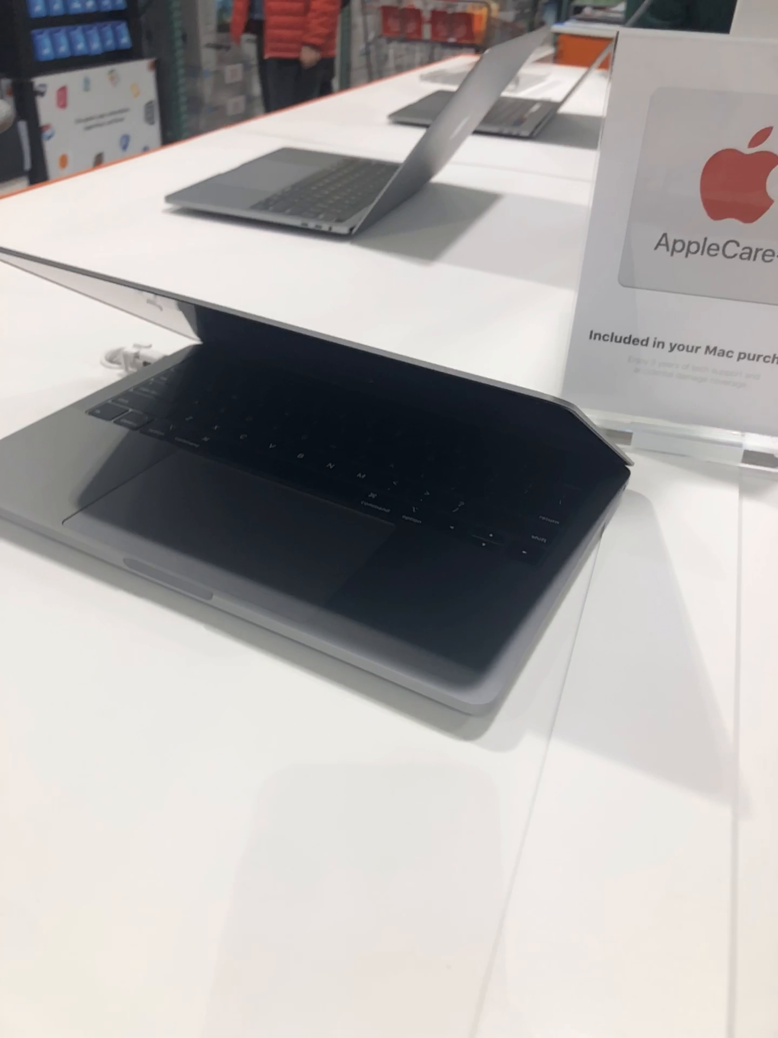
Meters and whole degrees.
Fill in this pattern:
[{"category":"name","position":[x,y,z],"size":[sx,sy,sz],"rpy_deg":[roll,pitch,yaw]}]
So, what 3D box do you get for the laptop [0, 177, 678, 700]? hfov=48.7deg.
[{"category":"laptop","position":[-0.040,-0.070,0.428],"size":[0.295,0.109,0.205],"rpy_deg":[19,37,21]}]
